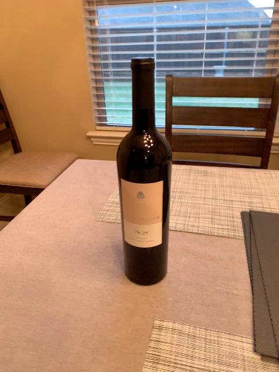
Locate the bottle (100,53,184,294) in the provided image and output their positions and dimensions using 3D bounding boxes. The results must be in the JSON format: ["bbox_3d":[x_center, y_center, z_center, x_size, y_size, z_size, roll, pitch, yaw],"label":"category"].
[{"bbox_3d":[0.013,-0.006,0.409,0.083,0.328,0.090,-2,27,1],"label":"bottle"}]
